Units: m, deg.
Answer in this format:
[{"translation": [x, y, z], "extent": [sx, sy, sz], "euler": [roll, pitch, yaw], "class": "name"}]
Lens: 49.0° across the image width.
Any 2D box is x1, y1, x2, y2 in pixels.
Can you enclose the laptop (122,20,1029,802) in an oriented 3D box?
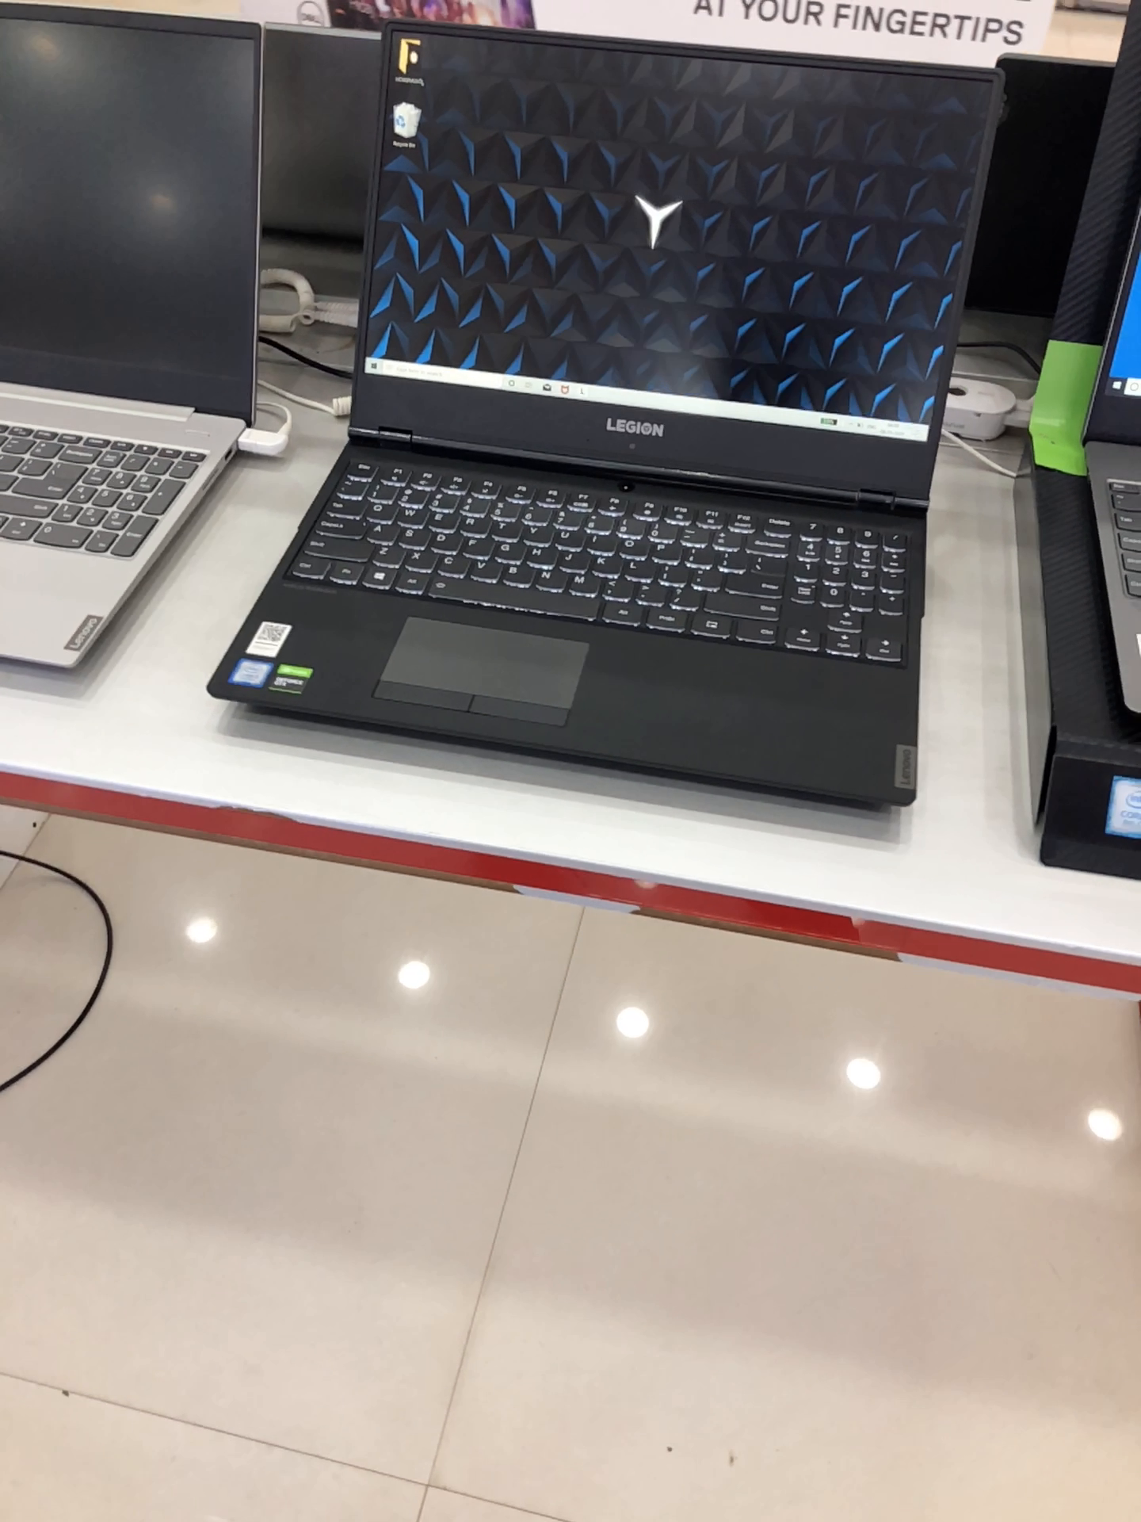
[{"translation": [0.027, -0.198, 0.637], "extent": [0.333, 0.191, 0.349], "euler": [9, 48, 7], "class": "laptop"}]
